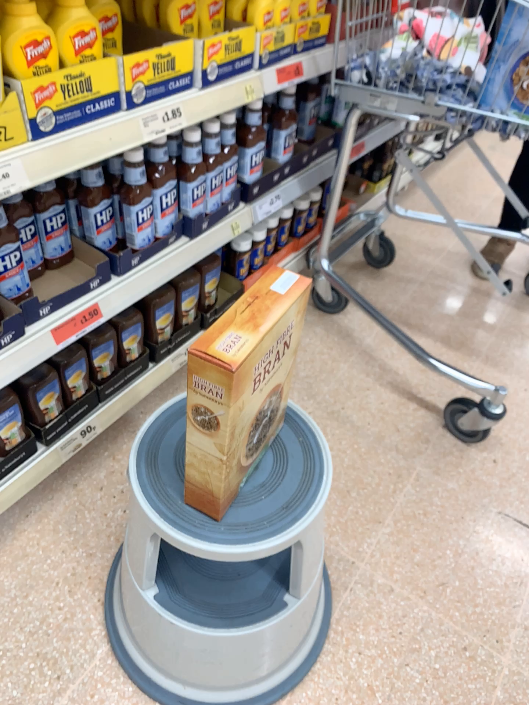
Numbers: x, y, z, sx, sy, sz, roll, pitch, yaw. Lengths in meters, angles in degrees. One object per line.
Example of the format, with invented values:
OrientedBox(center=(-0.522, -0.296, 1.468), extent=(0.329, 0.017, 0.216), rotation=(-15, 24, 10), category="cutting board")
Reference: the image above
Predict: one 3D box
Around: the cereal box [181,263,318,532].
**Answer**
OrientedBox(center=(-0.022, 0.060, 0.687), extent=(0.060, 0.277, 0.202), rotation=(23, 44, 17), category="cereal box")
